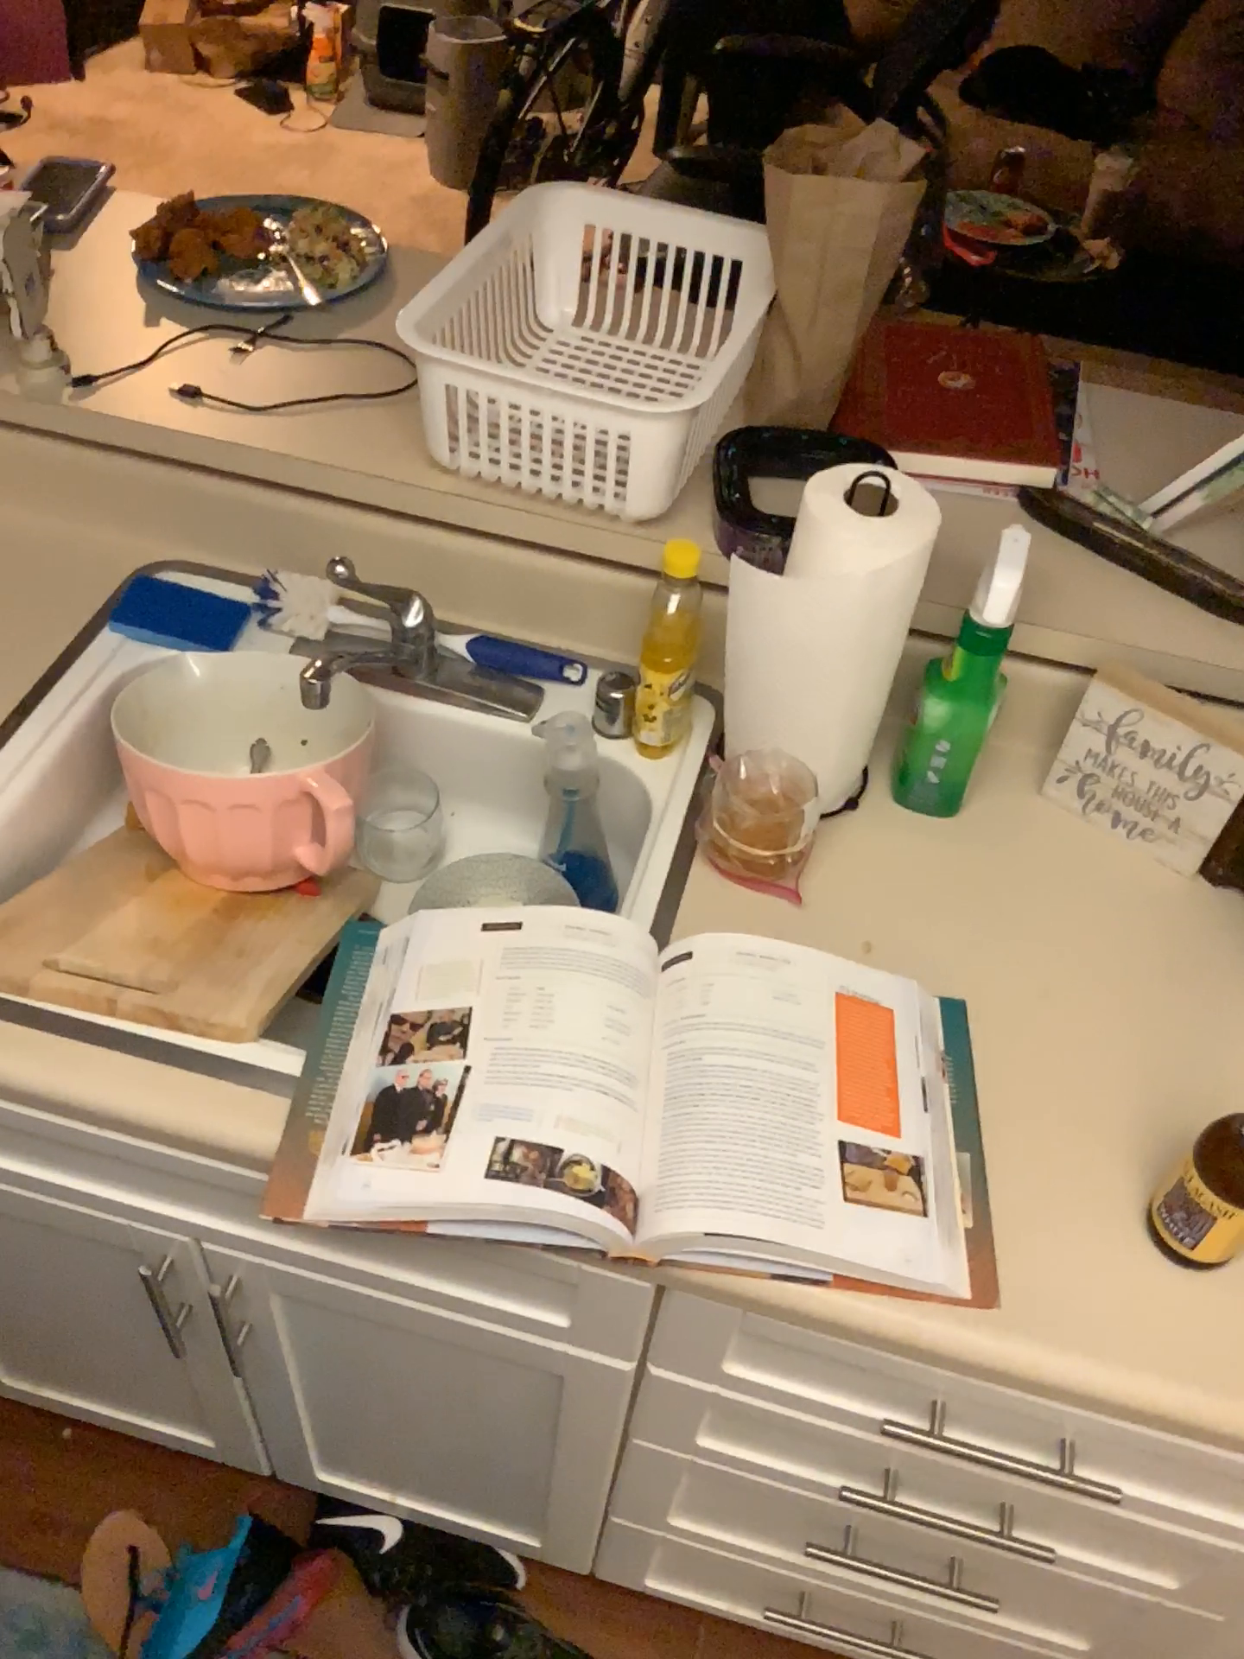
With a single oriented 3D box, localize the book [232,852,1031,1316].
[{"bbox_3d":[0.018,0.175,1.026,0.530,0.040,0.310,7,46,0],"label":"book"}]
